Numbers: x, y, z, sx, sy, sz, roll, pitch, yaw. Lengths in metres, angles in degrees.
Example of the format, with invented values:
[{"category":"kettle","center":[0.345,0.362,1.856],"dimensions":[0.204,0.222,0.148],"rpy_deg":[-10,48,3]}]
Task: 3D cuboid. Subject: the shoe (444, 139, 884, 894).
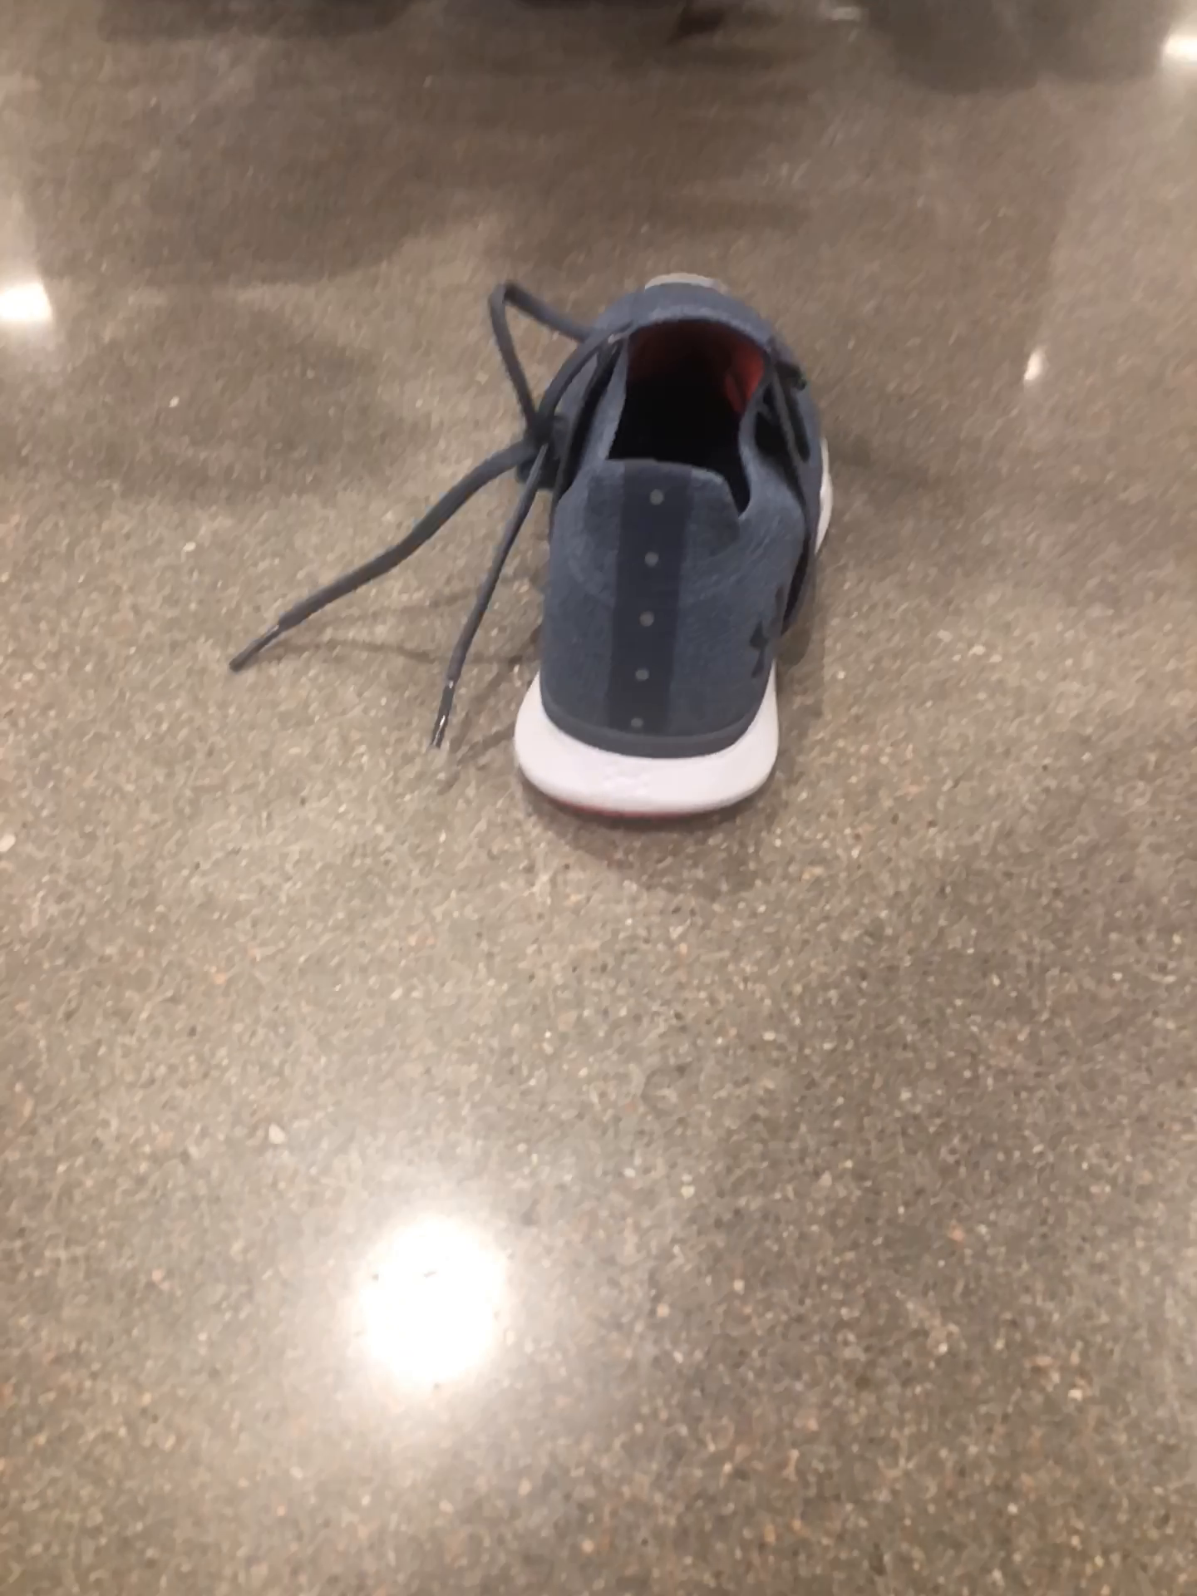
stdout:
[{"category":"shoe","center":[0.028,-0.105,0.425],"dimensions":[0.100,0.110,0.251],"rpy_deg":[6,46,4]}]
